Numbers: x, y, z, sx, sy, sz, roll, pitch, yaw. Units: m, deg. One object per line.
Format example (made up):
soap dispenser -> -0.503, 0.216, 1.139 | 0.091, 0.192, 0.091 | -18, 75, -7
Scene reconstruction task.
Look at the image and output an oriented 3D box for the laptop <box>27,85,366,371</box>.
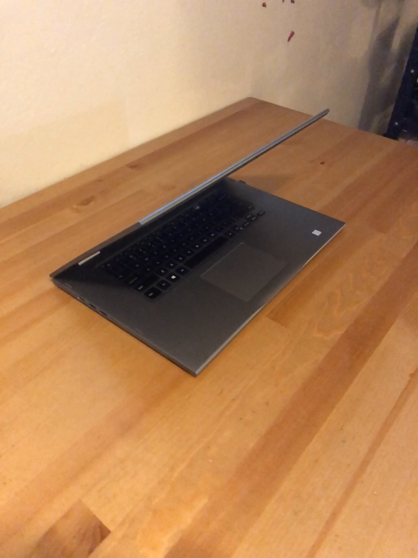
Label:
laptop -> 0.003, -0.106, 0.632 | 0.247, 0.165, 0.377 | 28, 47, 27
